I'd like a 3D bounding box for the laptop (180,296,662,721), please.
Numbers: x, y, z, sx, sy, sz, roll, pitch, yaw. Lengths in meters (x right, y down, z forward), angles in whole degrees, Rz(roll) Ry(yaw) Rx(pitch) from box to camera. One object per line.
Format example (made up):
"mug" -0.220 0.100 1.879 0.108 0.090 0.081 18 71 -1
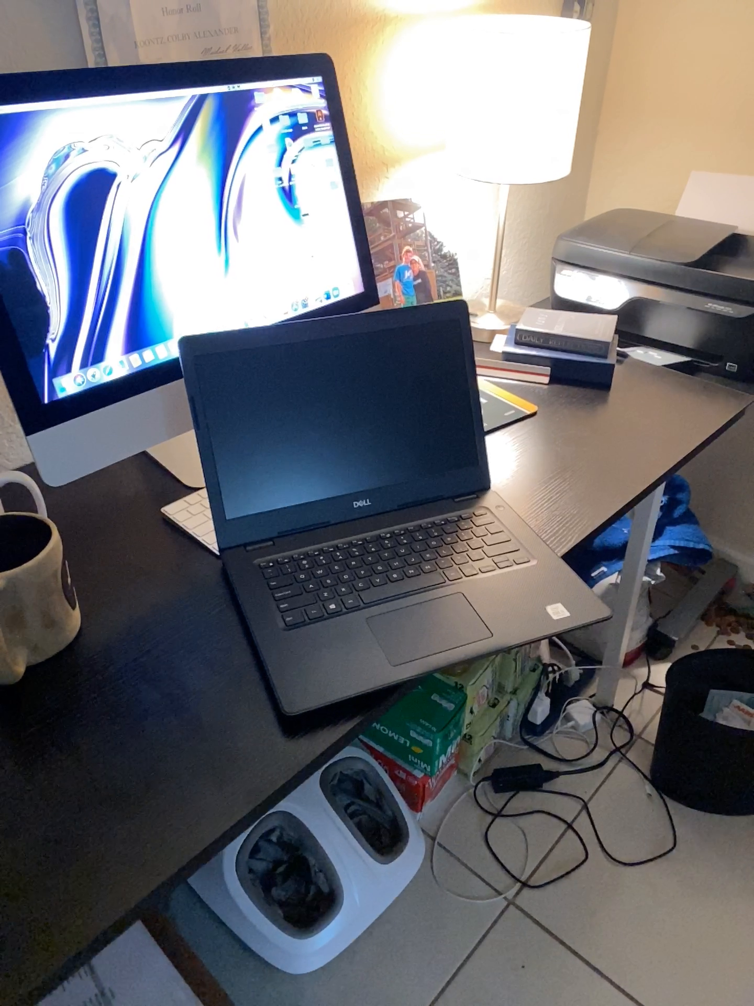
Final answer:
"laptop" 0.016 -0.029 0.777 0.336 0.206 0.344 -13 37 -18
